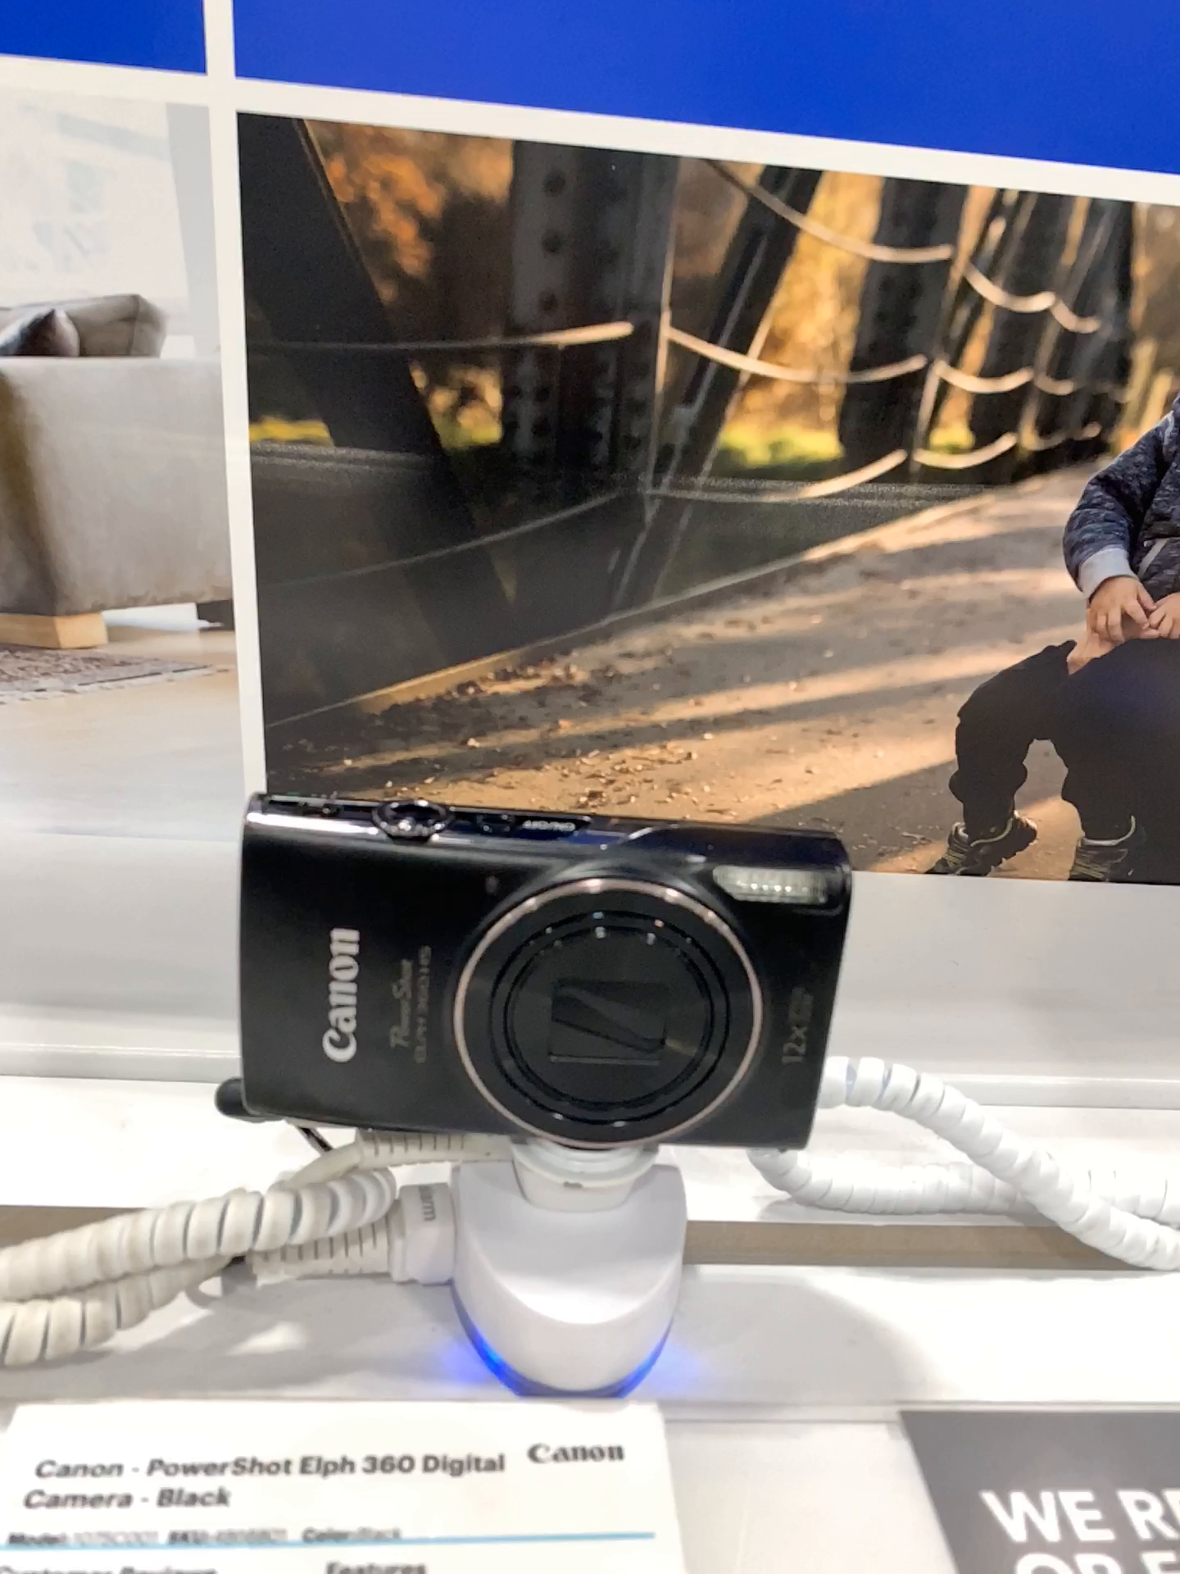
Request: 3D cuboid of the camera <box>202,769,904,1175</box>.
[{"bbox_3d":[-0.008,0.031,0.205,0.106,0.055,0.027,4,19,-6],"label":"camera"}]
